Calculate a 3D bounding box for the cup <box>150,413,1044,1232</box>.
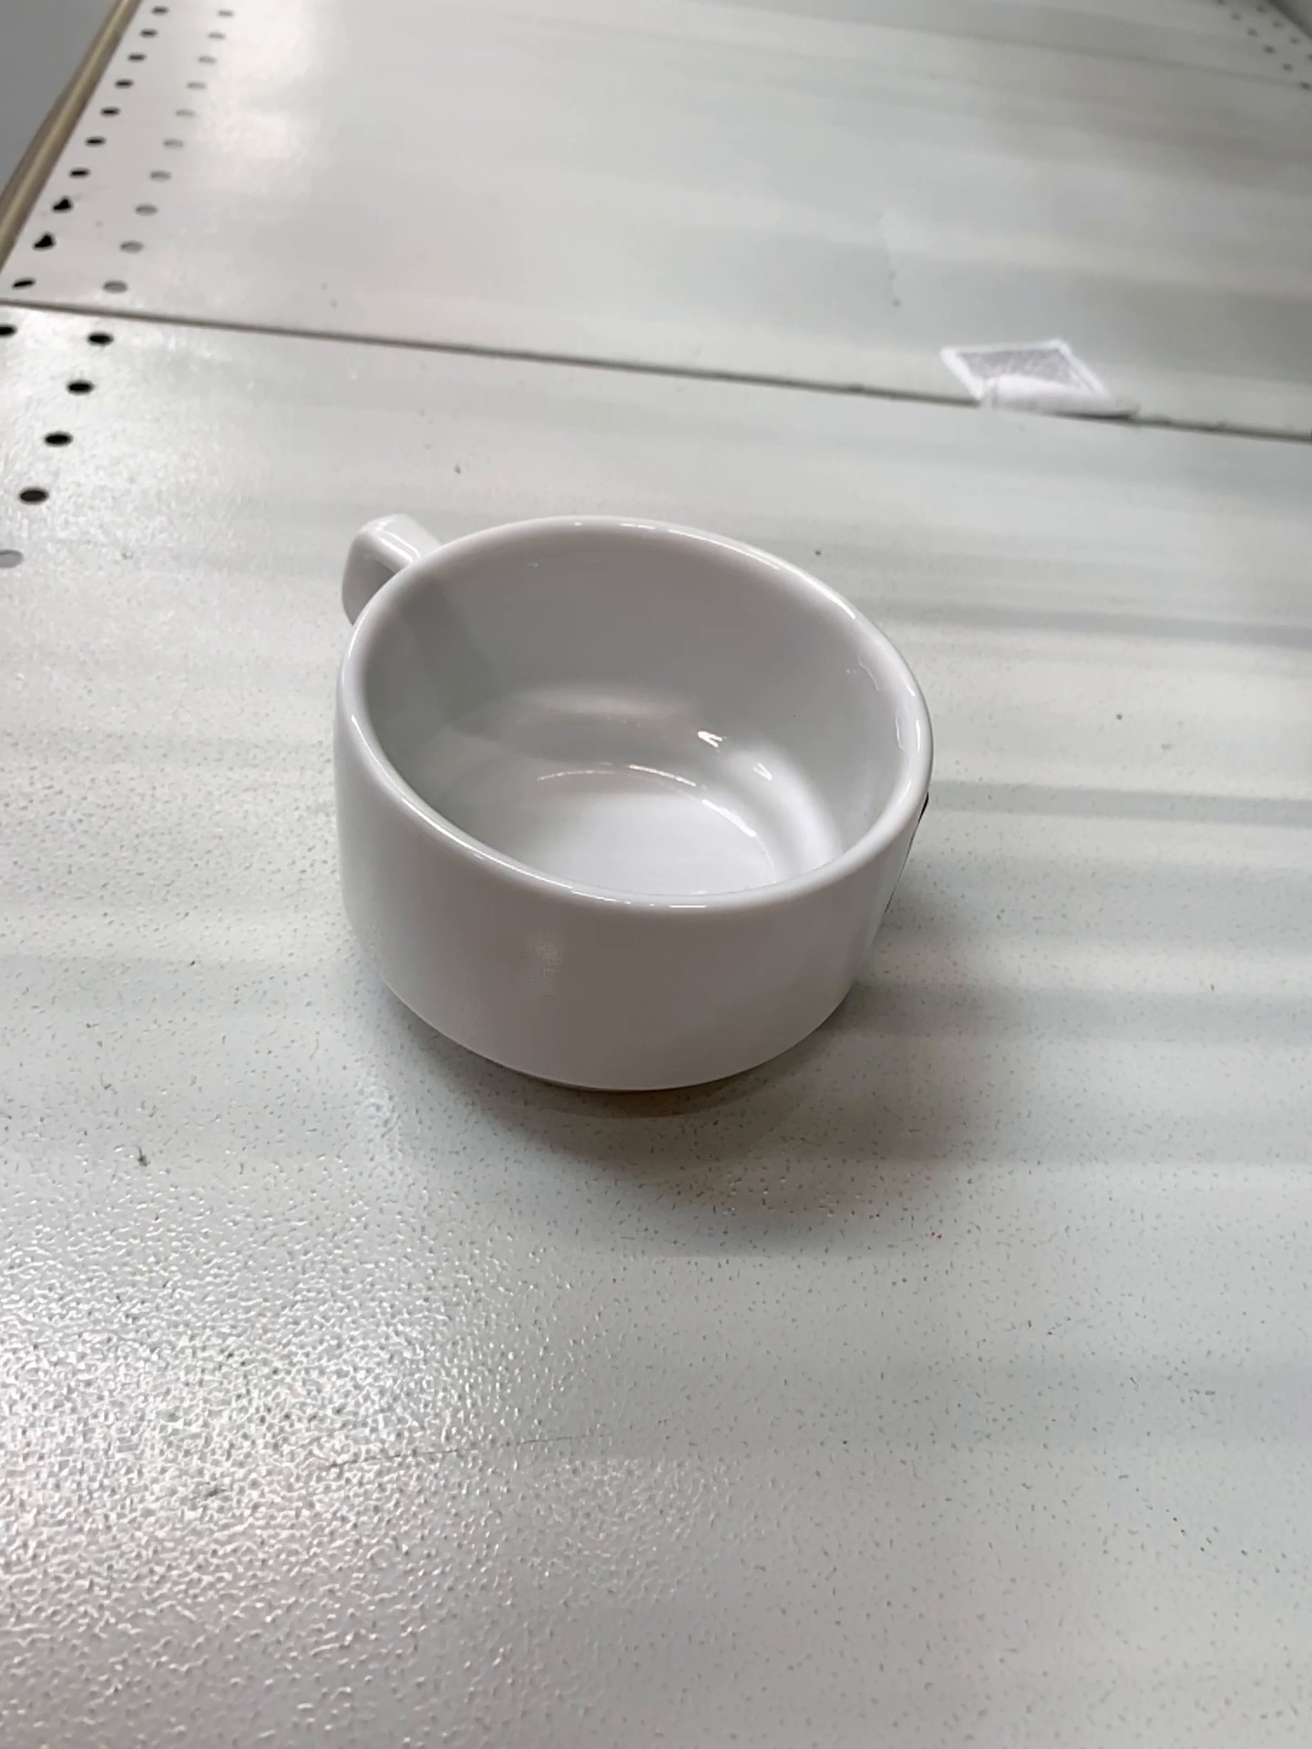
[{"bbox_3d":[-0.013,-0.018,0.232,0.091,0.051,0.111,-28,59,-31],"label":"cup"}]
